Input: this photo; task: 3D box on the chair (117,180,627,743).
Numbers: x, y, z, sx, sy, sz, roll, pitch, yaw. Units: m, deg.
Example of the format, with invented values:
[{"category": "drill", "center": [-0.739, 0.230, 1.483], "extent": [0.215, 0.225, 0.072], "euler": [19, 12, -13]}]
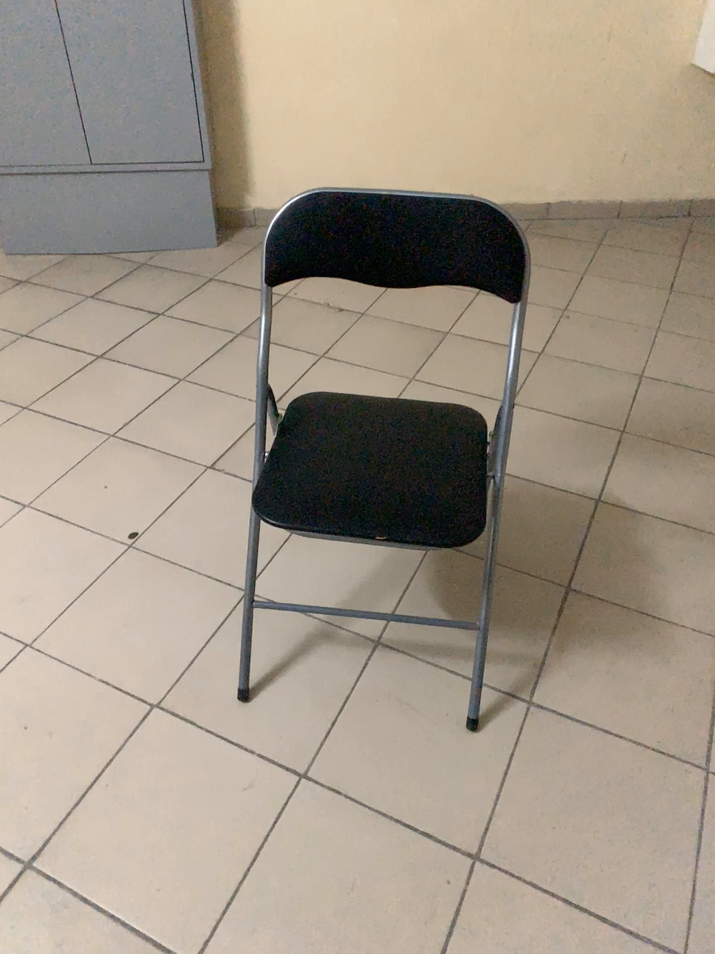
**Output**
[{"category": "chair", "center": [0.050, -0.034, 1.249], "extent": [0.570, 0.727, 0.563], "euler": [5, 40, 7]}]
